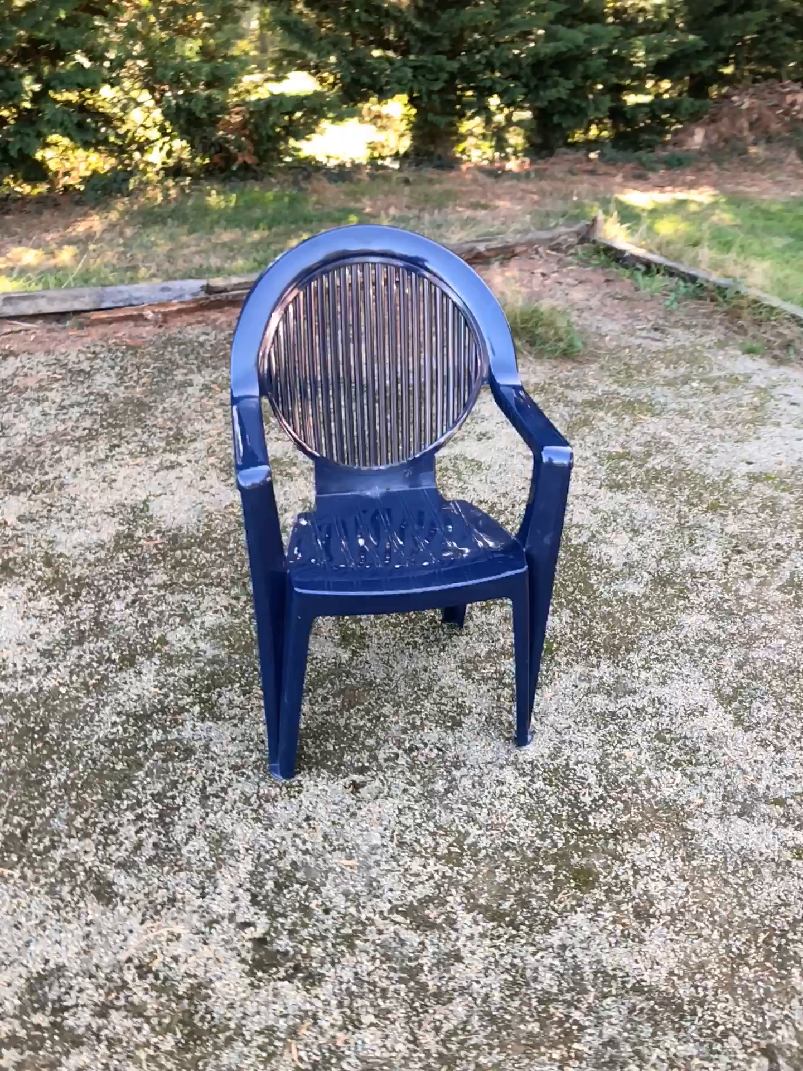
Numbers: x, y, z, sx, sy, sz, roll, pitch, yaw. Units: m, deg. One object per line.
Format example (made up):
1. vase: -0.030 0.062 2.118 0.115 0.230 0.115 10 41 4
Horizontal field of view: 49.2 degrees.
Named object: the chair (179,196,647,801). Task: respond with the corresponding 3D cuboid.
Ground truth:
1. chair: -0.044 -0.090 1.562 0.591 0.855 0.573 -6 34 -13
